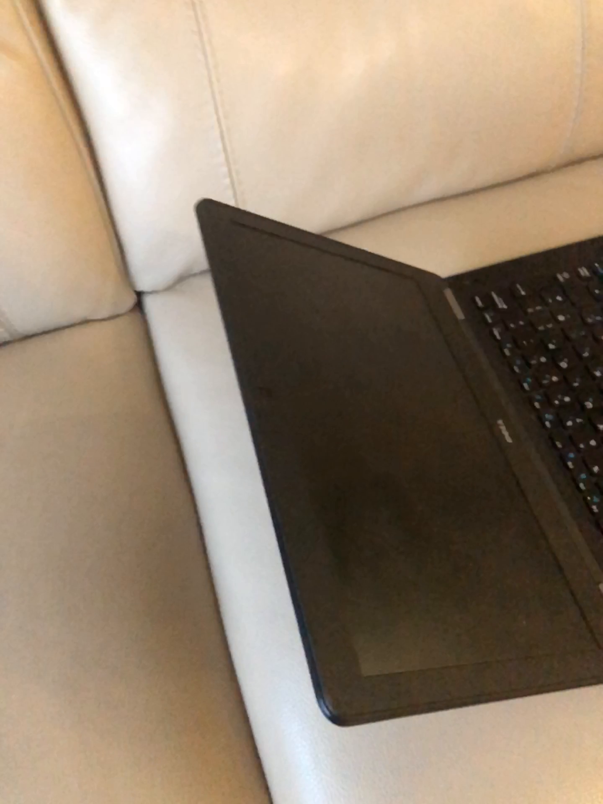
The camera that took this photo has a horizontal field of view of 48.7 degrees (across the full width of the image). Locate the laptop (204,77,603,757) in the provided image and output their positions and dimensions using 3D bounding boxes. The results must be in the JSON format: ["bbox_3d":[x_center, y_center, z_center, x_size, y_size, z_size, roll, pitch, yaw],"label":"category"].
[{"bbox_3d":[0.157,-0.010,0.402,0.374,0.125,0.307,-16,56,-2],"label":"laptop"}]
